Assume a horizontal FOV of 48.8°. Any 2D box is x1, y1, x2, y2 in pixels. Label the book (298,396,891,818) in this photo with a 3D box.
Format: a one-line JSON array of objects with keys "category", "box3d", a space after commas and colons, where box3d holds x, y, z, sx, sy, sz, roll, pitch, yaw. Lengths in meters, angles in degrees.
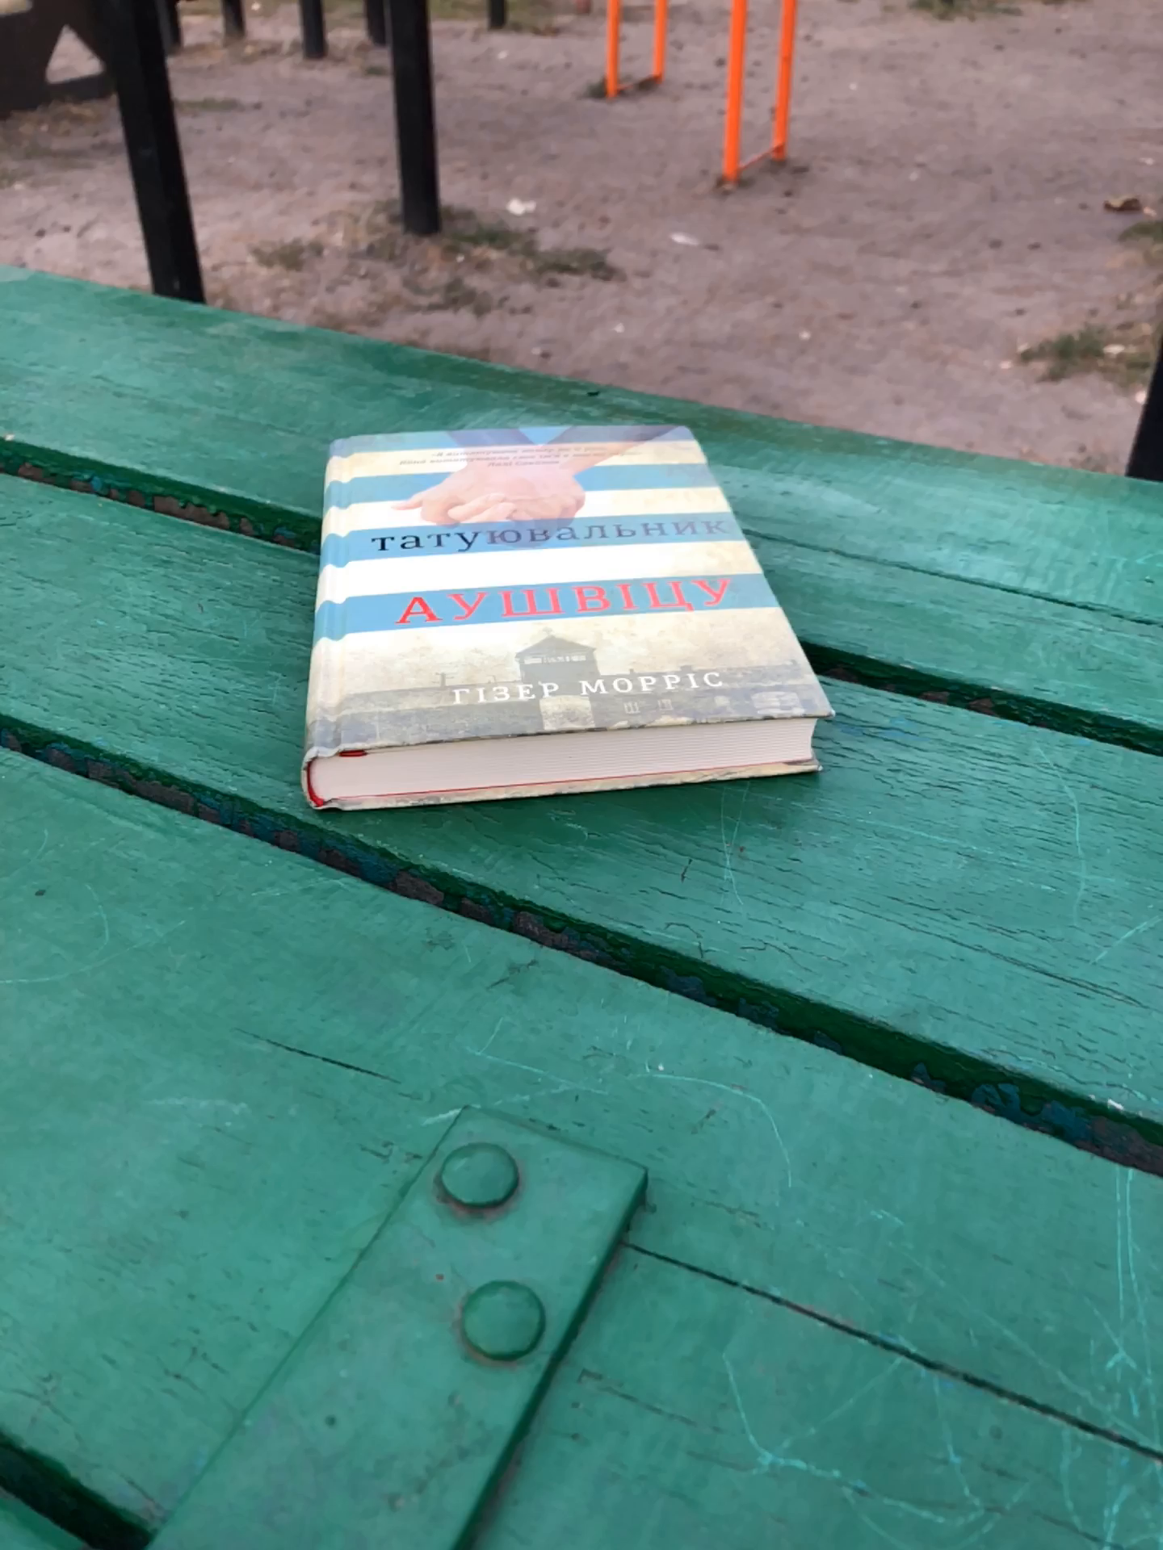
[{"category": "book", "box3d": [-0.009, -0.069, 0.419, 0.151, 0.025, 0.219, -4, 37, -6]}]
